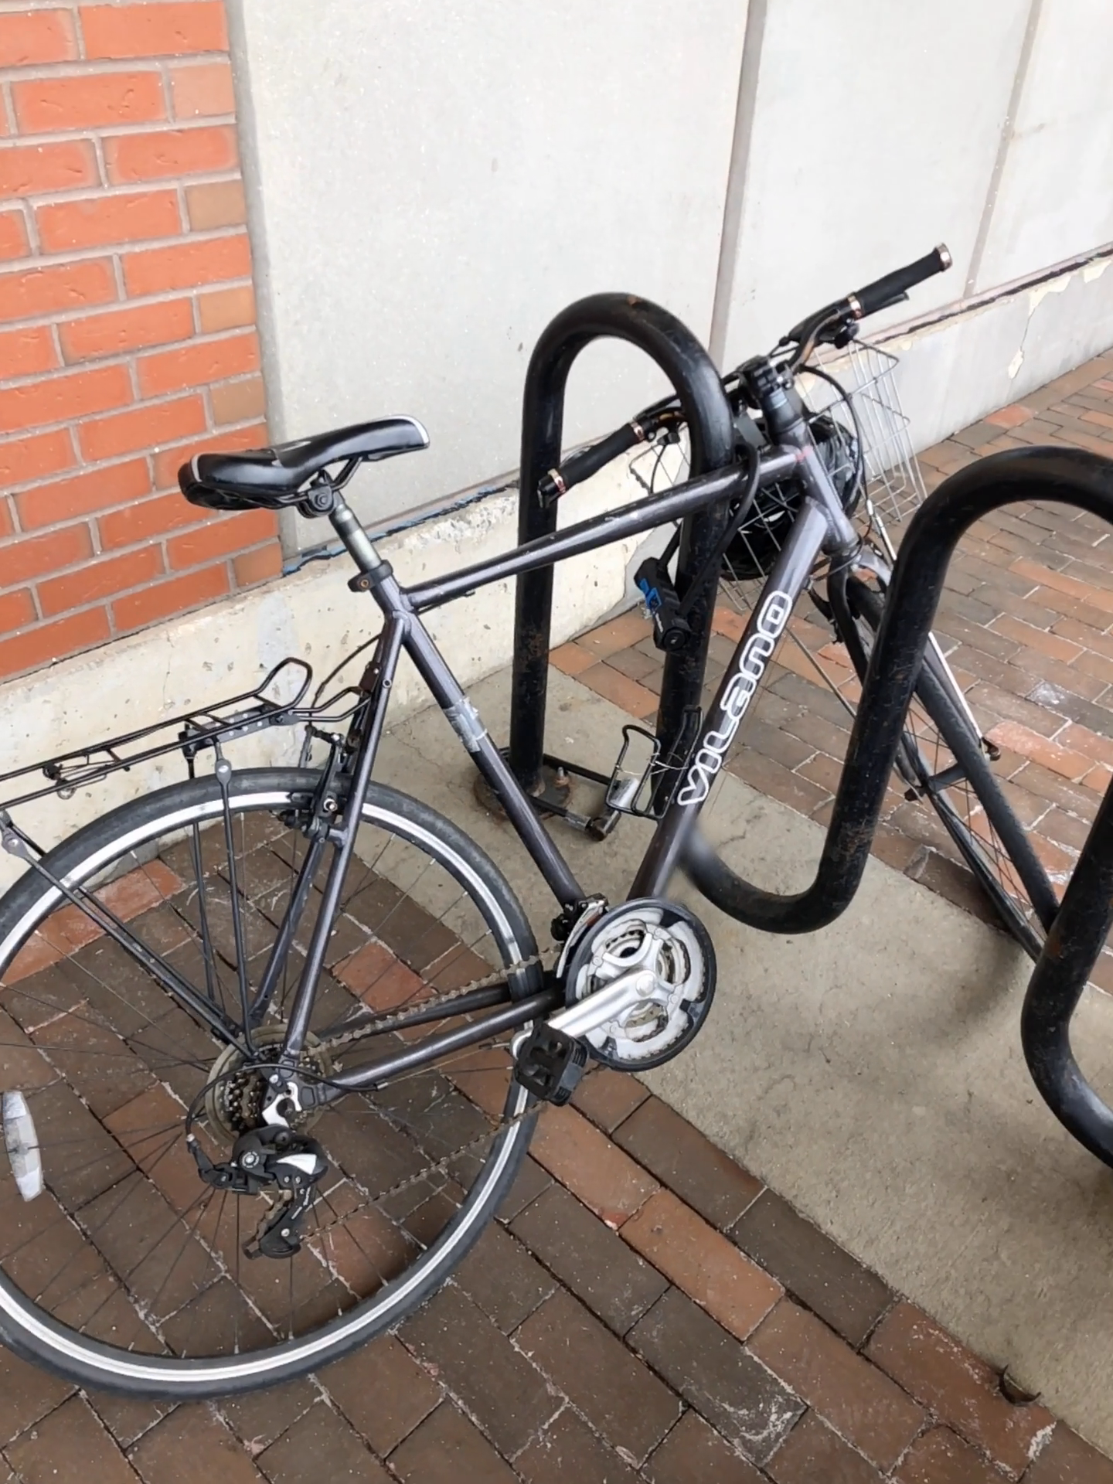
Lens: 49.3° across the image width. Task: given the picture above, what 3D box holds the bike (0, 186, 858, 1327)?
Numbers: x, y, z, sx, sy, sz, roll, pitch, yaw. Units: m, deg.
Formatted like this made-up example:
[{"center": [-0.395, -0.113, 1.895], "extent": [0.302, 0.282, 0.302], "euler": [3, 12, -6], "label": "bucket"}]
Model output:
[{"center": [-0.316, -0.196, 1.644], "extent": [0.745, 0.734, 1.421], "euler": [32, 44, 32], "label": "bike"}]
